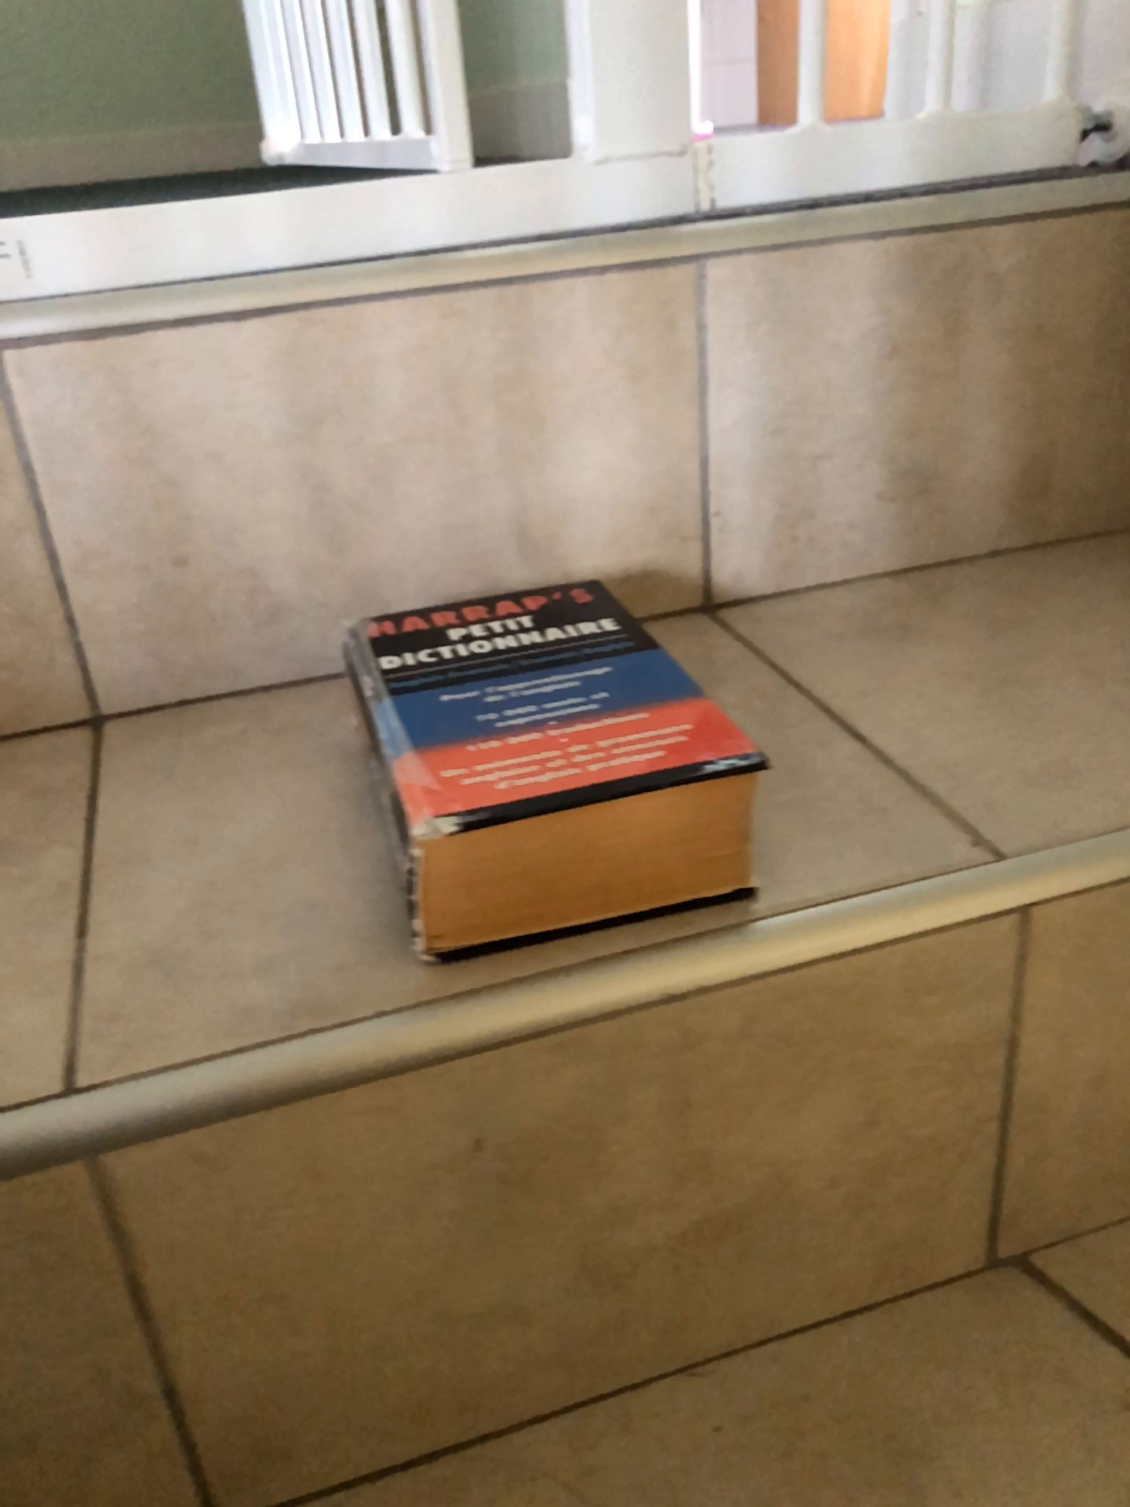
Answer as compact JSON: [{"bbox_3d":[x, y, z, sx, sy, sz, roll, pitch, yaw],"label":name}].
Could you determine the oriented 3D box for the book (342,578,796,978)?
[{"bbox_3d":[-0.009,-0.004,0.458,0.118,0.050,0.186,-11,27,-12],"label":"book"}]
